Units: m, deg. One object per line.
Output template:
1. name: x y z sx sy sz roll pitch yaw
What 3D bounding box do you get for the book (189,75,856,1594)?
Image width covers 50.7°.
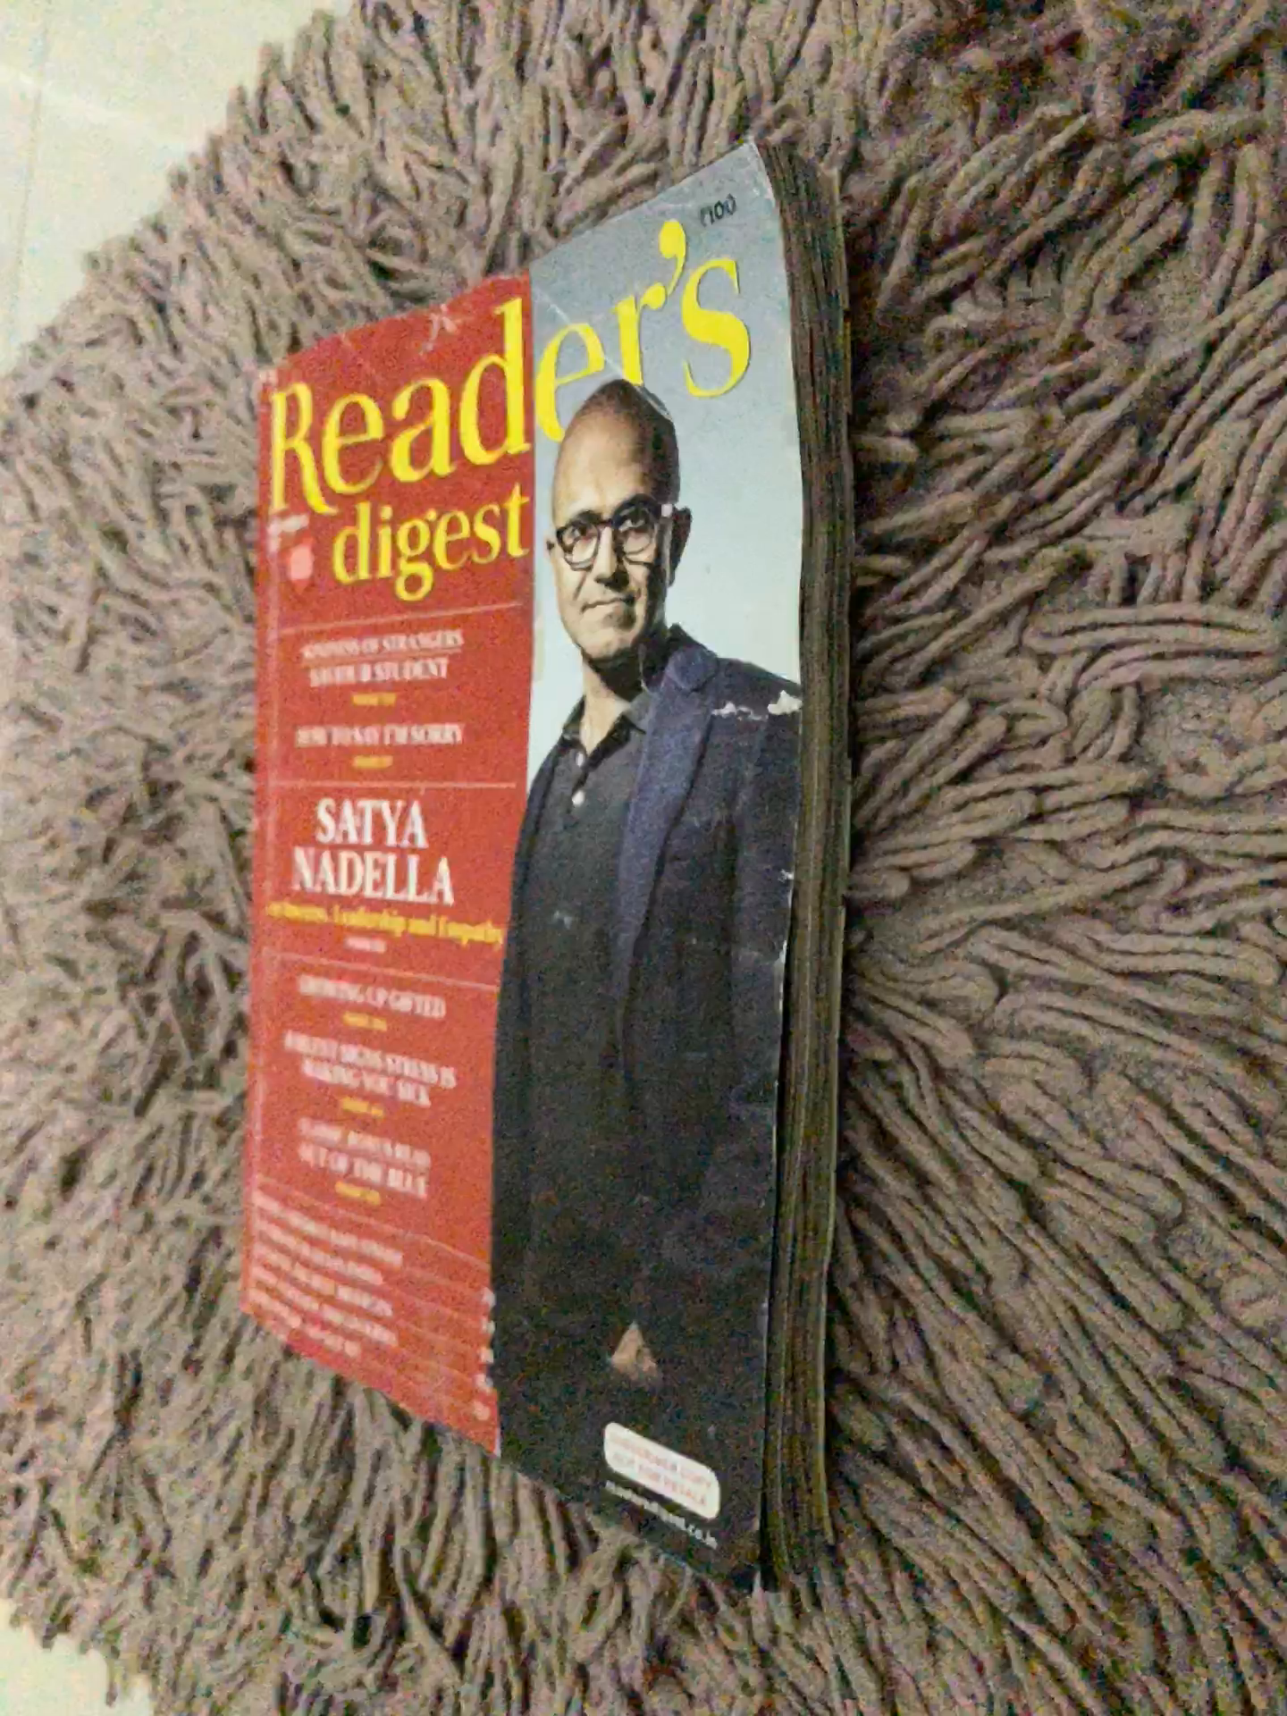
1. book: -0.028 -0.003 0.213 0.131 0.020 0.180 0 90 43
